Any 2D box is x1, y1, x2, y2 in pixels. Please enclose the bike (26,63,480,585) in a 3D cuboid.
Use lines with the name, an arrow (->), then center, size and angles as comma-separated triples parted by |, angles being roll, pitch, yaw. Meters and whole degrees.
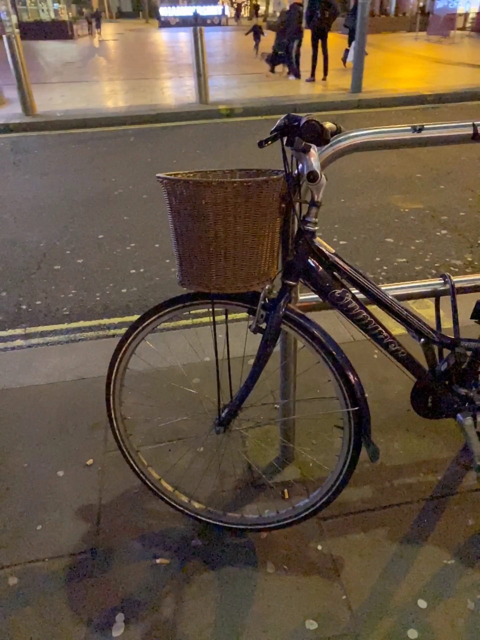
bike -> 0.508, 0.003, 1.320 | 1.710, 1.063, 0.663 | -5, 31, -1
